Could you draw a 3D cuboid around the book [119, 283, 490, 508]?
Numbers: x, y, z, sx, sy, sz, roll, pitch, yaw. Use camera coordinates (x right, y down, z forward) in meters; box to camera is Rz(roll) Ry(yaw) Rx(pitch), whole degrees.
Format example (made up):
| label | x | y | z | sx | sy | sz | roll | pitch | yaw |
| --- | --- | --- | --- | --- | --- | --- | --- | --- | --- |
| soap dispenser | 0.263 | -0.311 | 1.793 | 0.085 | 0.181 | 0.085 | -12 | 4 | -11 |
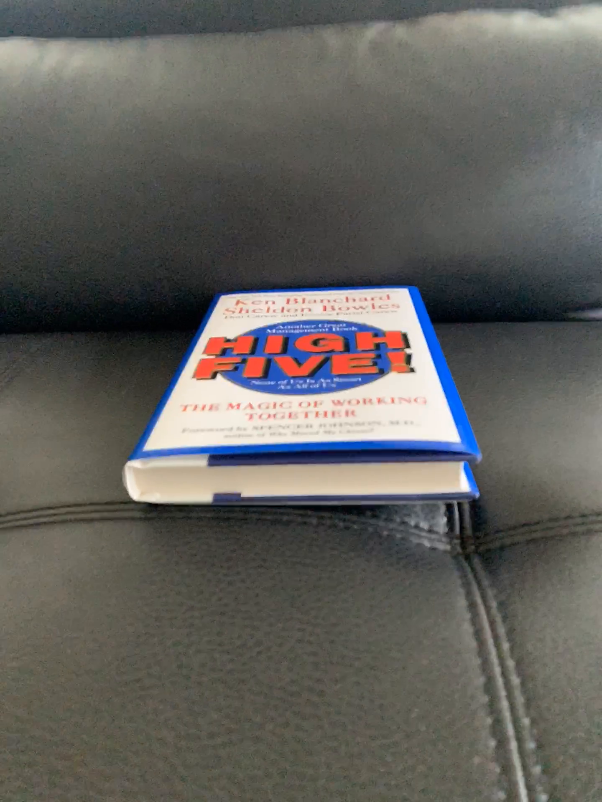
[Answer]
| label | x | y | z | sx | sy | sz | roll | pitch | yaw |
| --- | --- | --- | --- | --- | --- | --- | --- | --- | --- |
| book | 0.005 | -0.019 | 0.353 | 0.150 | 0.023 | 0.222 | -1 | 29 | 3 |
